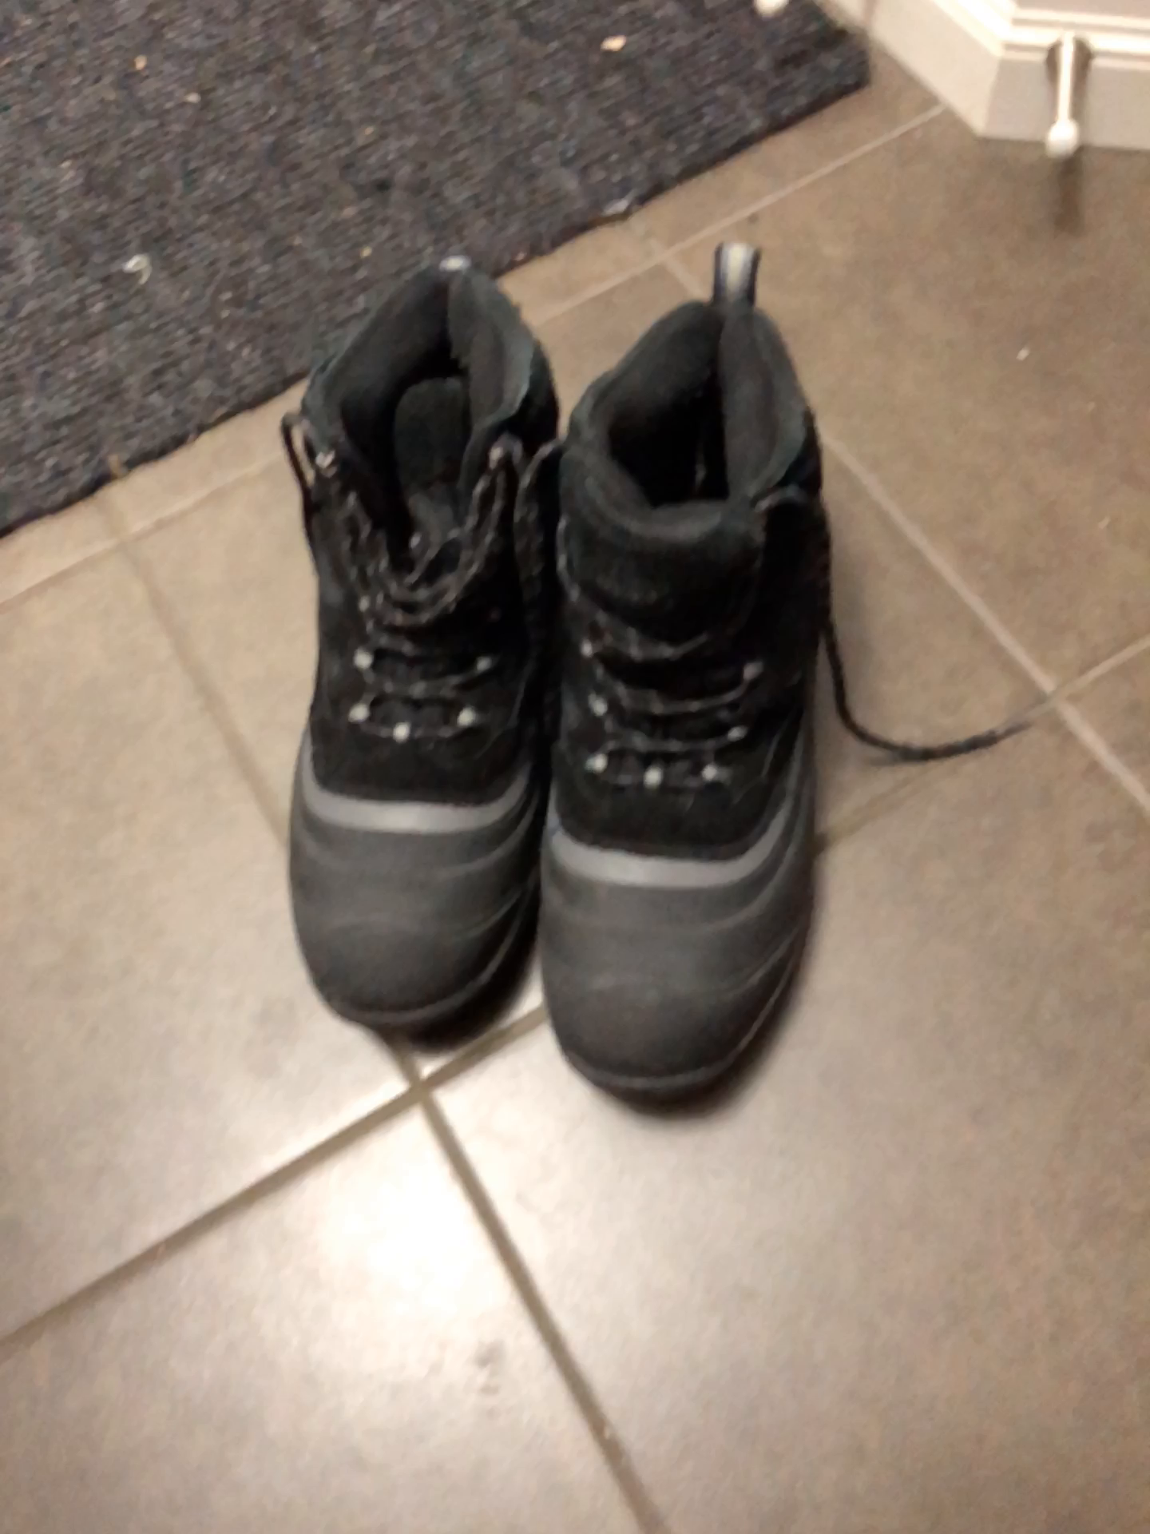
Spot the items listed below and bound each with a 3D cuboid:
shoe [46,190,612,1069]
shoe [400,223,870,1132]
[{"bbox_3d":[-0.071,-0.048,0.530,0.120,0.200,0.290,6,67,8],"label":"shoe"},{"bbox_3d":[0.037,-0.026,0.507,0.120,0.200,0.290,5,67,8],"label":"shoe"}]
